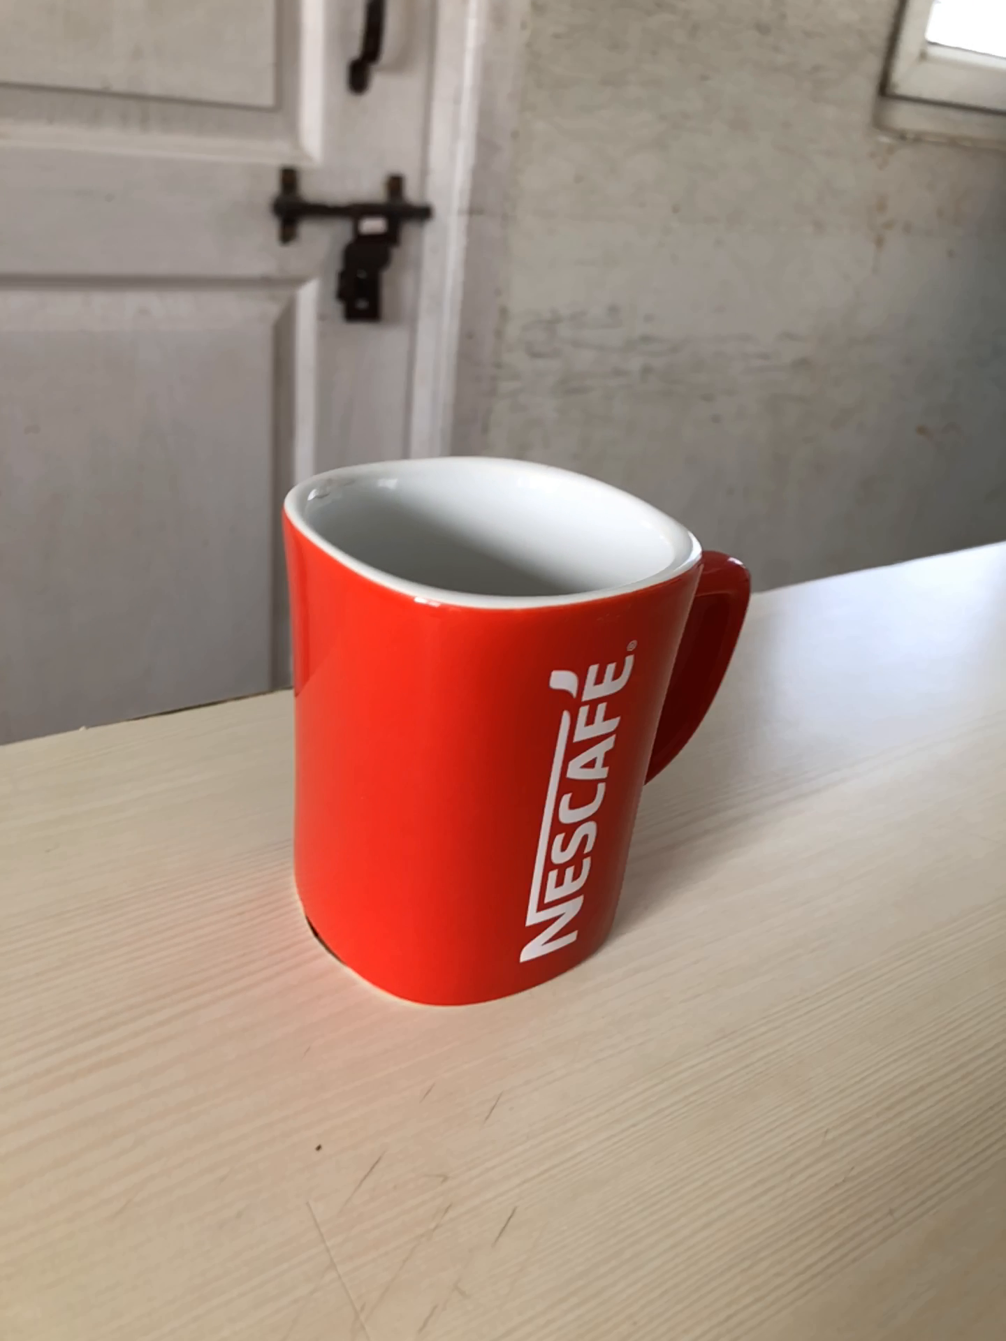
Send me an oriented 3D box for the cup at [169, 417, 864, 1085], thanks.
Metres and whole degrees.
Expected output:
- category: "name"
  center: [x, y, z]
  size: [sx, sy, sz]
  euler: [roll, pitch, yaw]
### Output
- category: "cup"
  center: [0.000, 0.005, 0.238]
  size: [0.111, 0.089, 0.080]
  euler: [-15, 34, -36]
